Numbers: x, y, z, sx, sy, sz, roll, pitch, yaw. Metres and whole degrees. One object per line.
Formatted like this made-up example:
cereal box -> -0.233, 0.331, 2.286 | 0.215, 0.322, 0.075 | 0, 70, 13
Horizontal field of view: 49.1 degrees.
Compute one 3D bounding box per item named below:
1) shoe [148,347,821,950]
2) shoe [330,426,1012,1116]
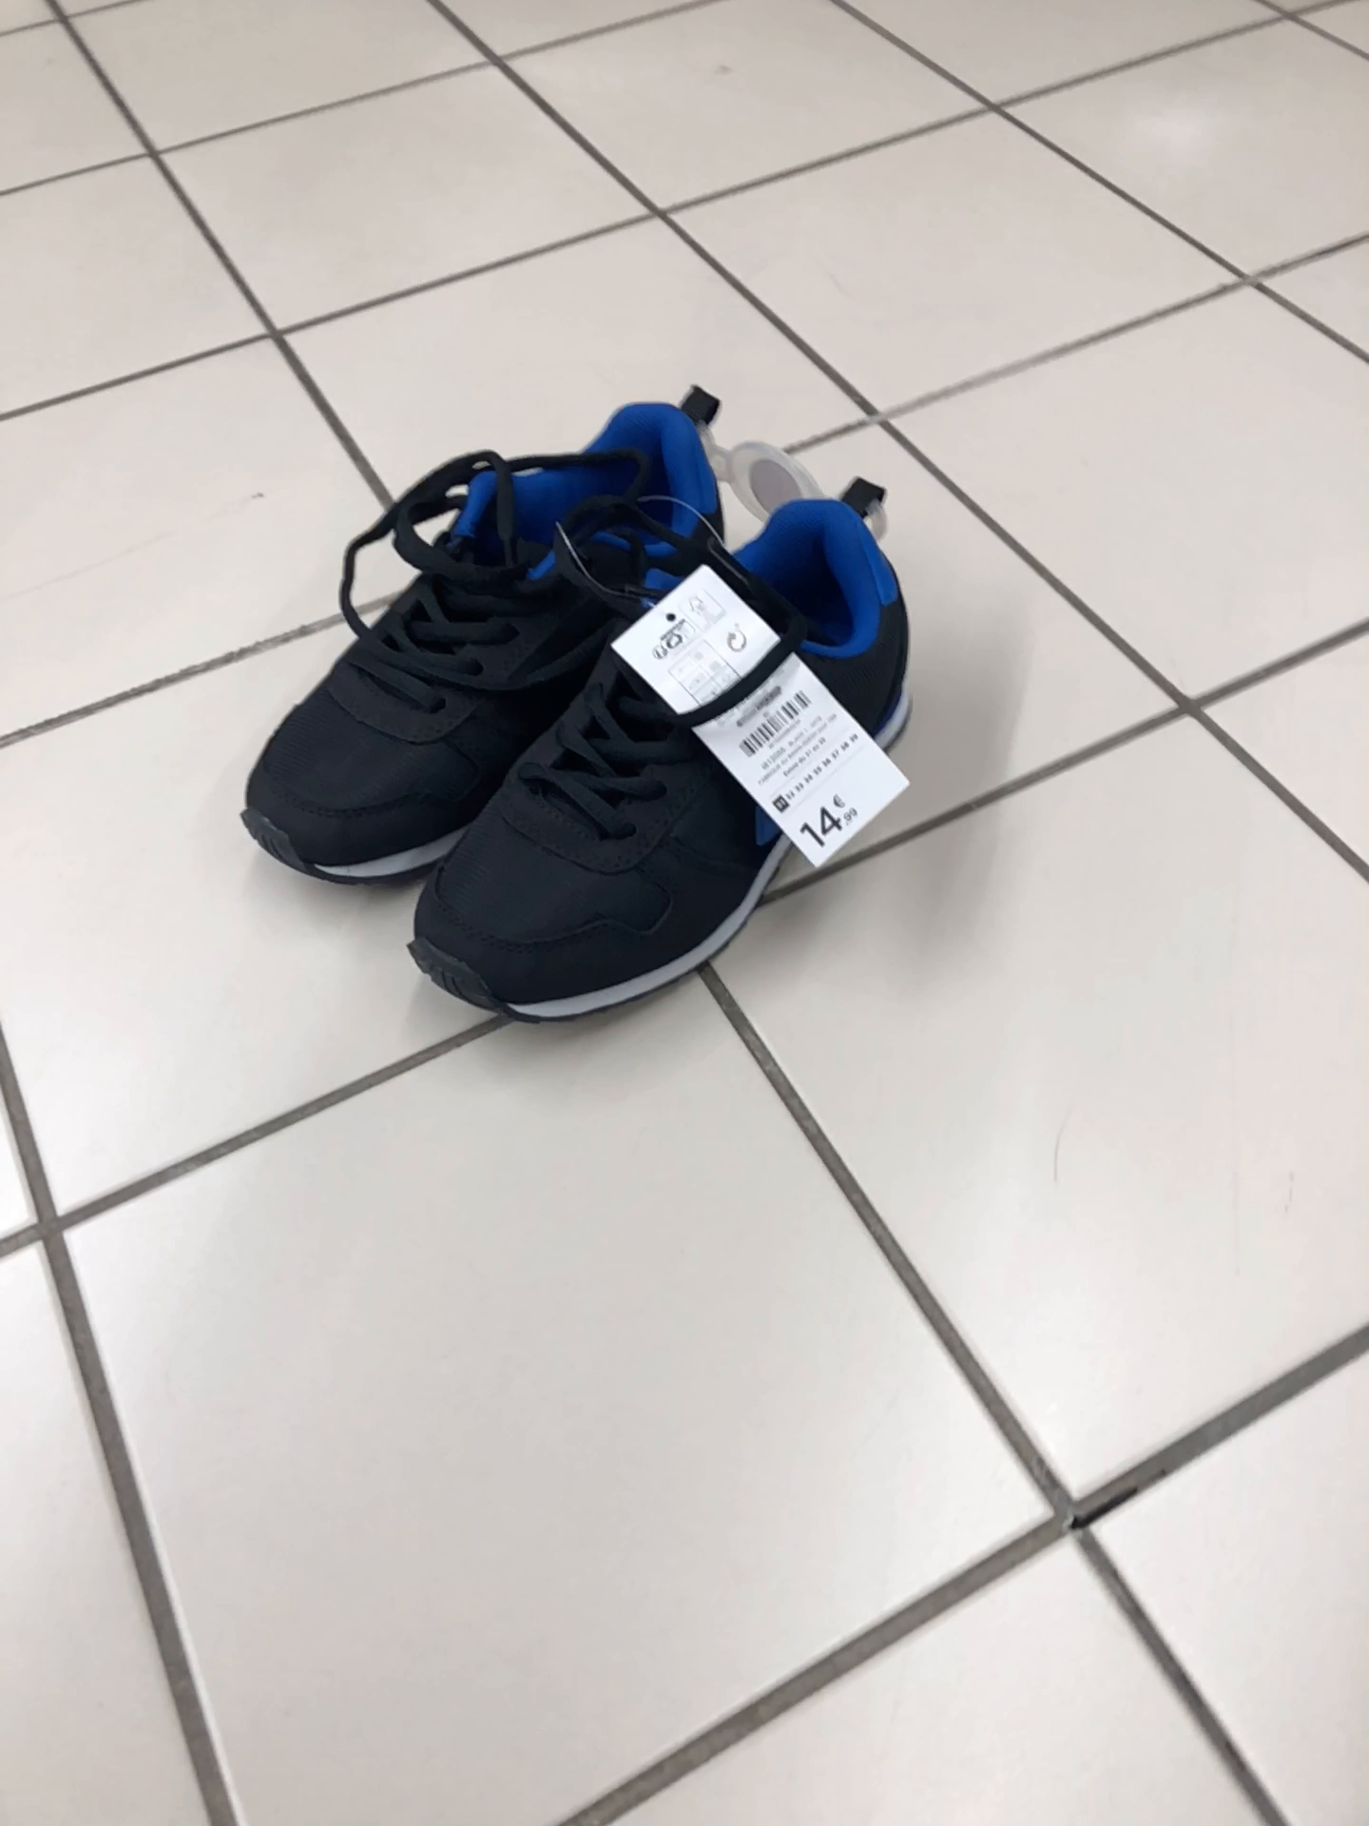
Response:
shoe -> -0.055, -0.096, 0.496 | 0.085, 0.061, 0.218 | 32, 60, 25
shoe -> 0.005, -0.052, 0.461 | 0.085, 0.071, 0.212 | 30, 59, 23
